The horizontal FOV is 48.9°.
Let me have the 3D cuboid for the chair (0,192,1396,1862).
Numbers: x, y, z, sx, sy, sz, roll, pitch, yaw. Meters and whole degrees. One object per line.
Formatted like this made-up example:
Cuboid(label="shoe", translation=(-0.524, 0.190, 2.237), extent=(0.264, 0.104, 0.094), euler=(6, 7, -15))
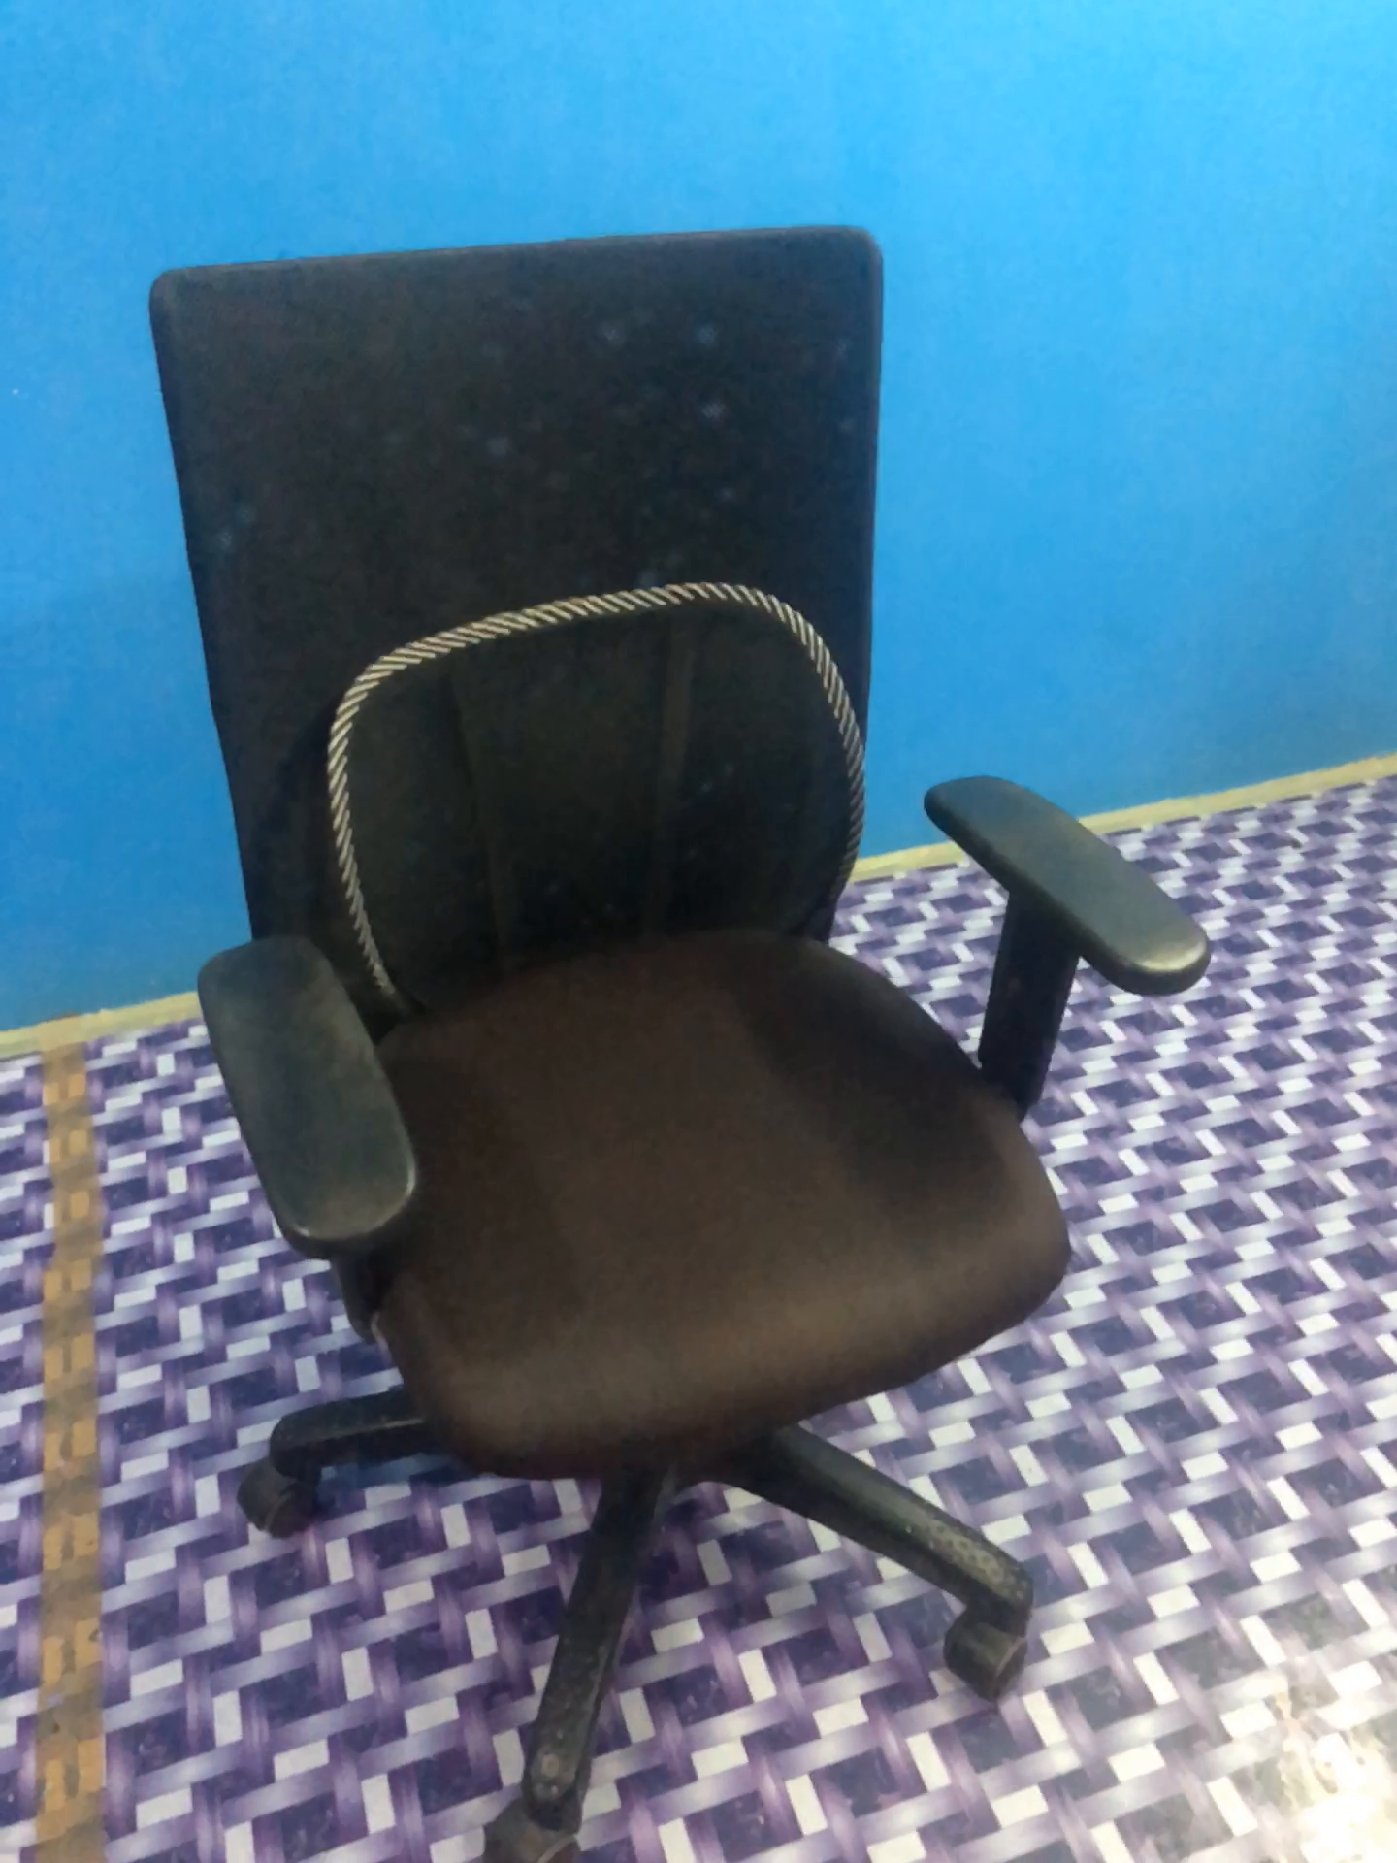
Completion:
Cuboid(label="chair", translation=(-0.055, 0.060, 1.043), extent=(0.662, 0.885, 0.672), euler=(-16, 37, -22))
